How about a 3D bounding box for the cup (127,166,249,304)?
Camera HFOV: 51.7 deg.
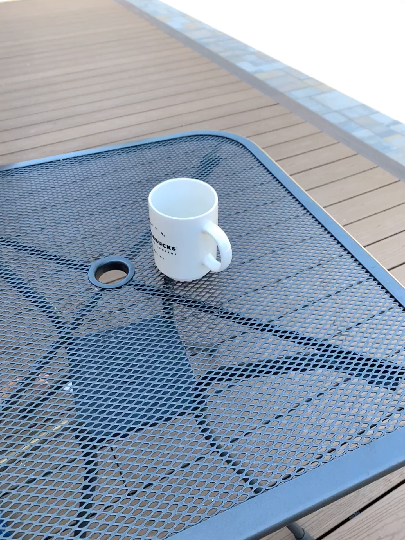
[{"bbox_3d":[-0.019,-0.045,0.511,0.080,0.100,0.121,-33,54,-29],"label":"cup"}]
